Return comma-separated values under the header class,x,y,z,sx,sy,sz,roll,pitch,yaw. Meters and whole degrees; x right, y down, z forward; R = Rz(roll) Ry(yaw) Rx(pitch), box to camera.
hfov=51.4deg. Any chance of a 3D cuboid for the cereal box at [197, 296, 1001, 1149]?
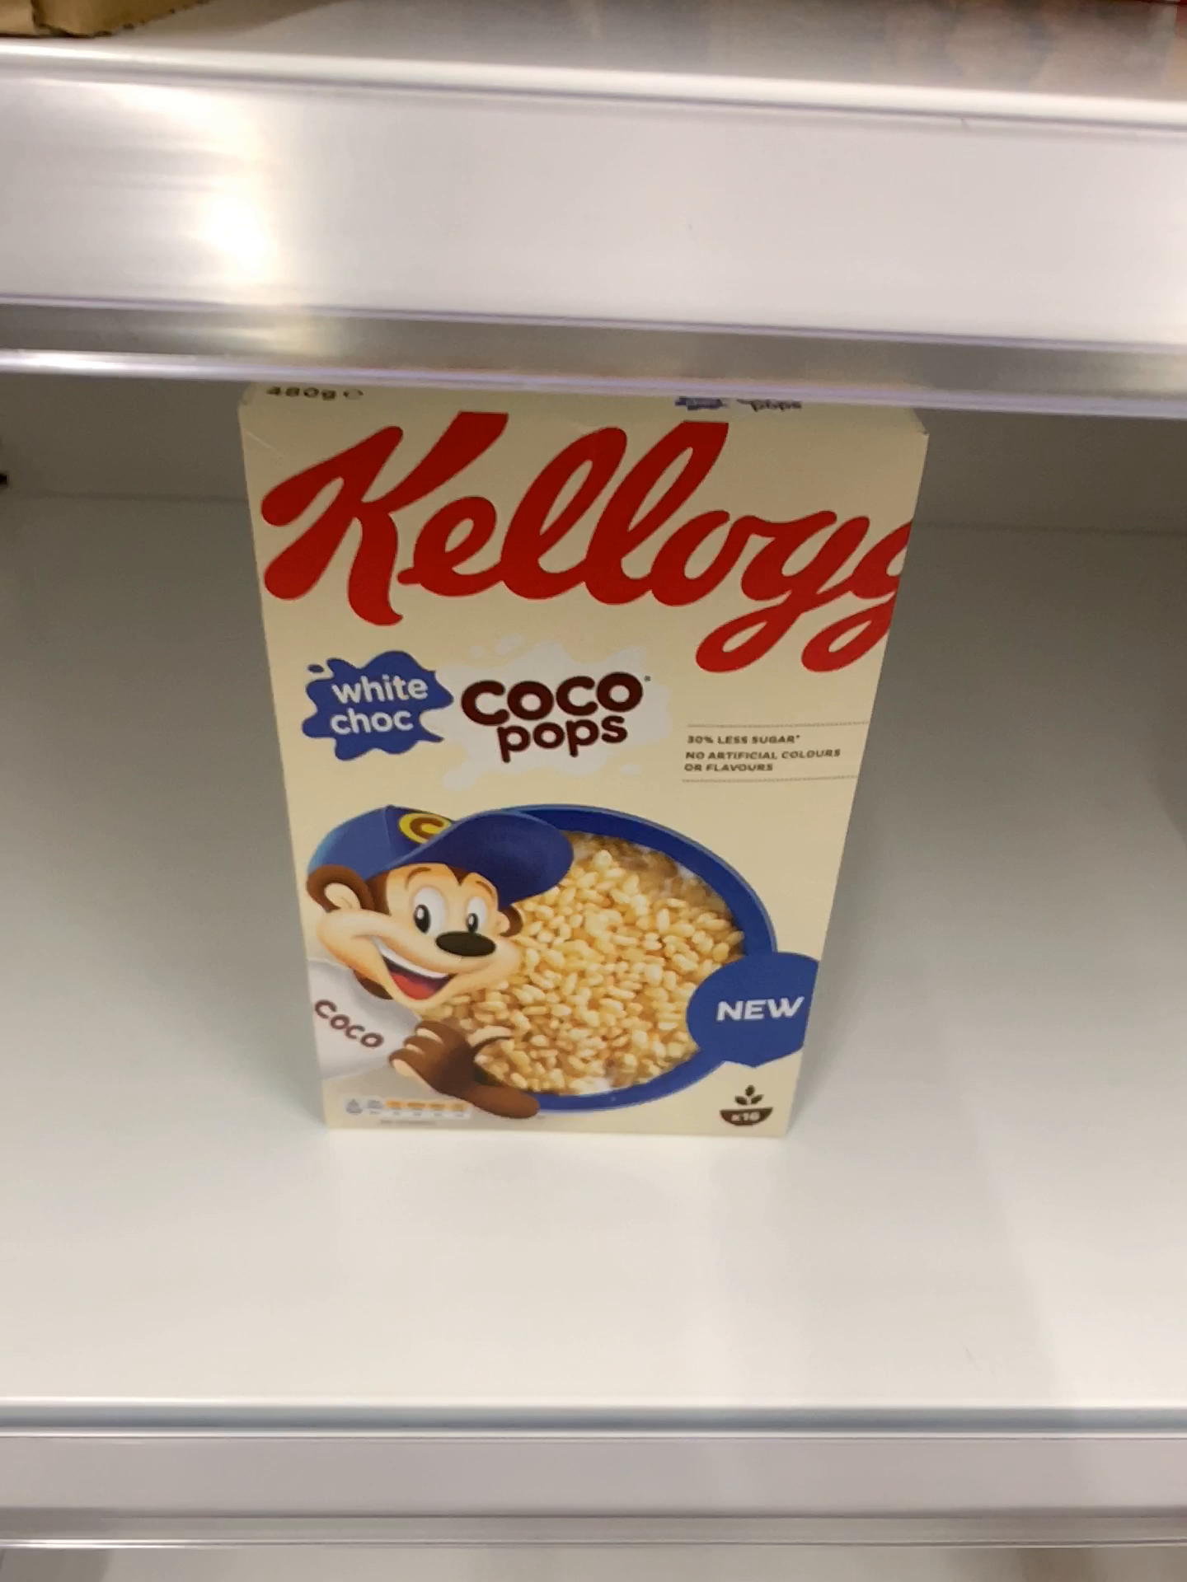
class,x,y,z,sx,sy,sz,roll,pitch,yaw
cereal box,-0.005,-0.004,0.434,0.210,0.297,0.071,2,34,-2
